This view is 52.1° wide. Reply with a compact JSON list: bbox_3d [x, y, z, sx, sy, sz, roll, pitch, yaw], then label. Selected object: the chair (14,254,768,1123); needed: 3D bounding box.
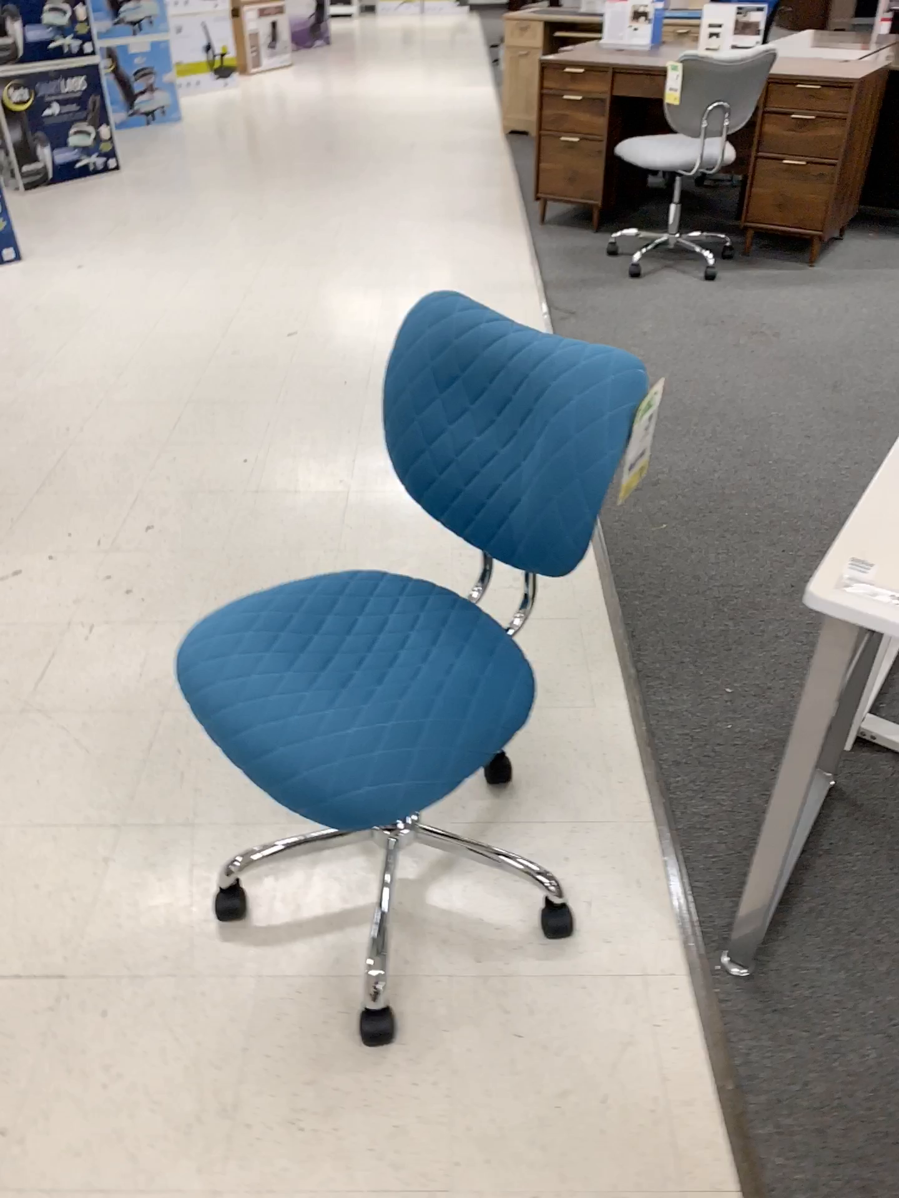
[{"bbox_3d":[-0.079,0.086,1.317,0.630,0.875,0.613,-25,43,-29],"label":"chair"}]
